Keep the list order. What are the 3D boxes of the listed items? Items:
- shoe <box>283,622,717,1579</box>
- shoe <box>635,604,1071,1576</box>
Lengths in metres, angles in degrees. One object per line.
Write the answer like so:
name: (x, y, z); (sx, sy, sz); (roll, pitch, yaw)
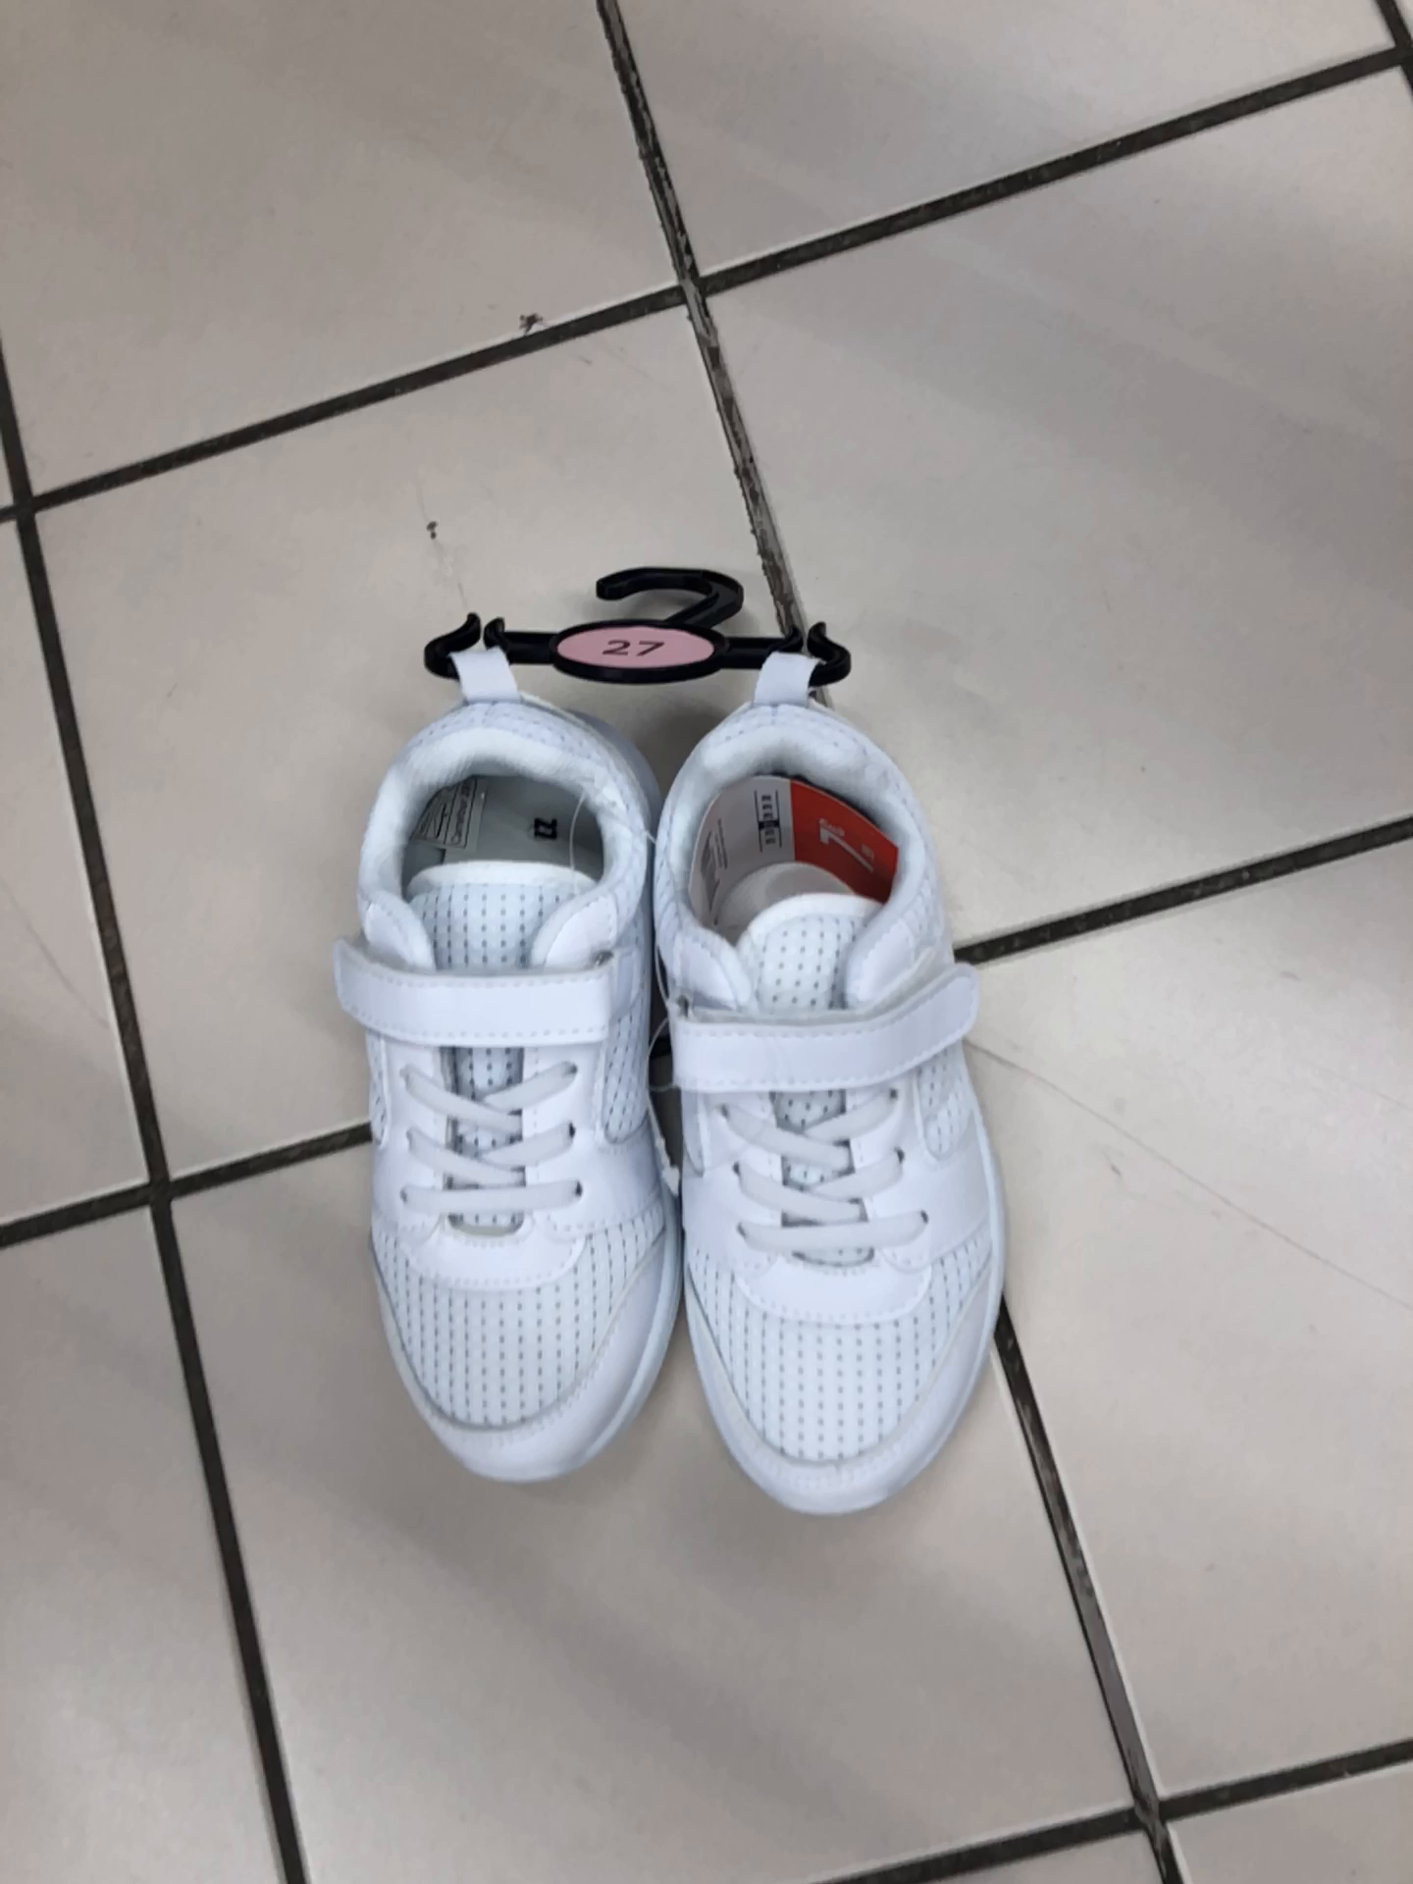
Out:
shoe: (-0.046, 0.037, 0.369); (0.080, 0.080, 0.200); (-4, 80, 7)
shoe: (0.033, 0.034, 0.364); (0.080, 0.080, 0.200); (-4, 80, 7)
